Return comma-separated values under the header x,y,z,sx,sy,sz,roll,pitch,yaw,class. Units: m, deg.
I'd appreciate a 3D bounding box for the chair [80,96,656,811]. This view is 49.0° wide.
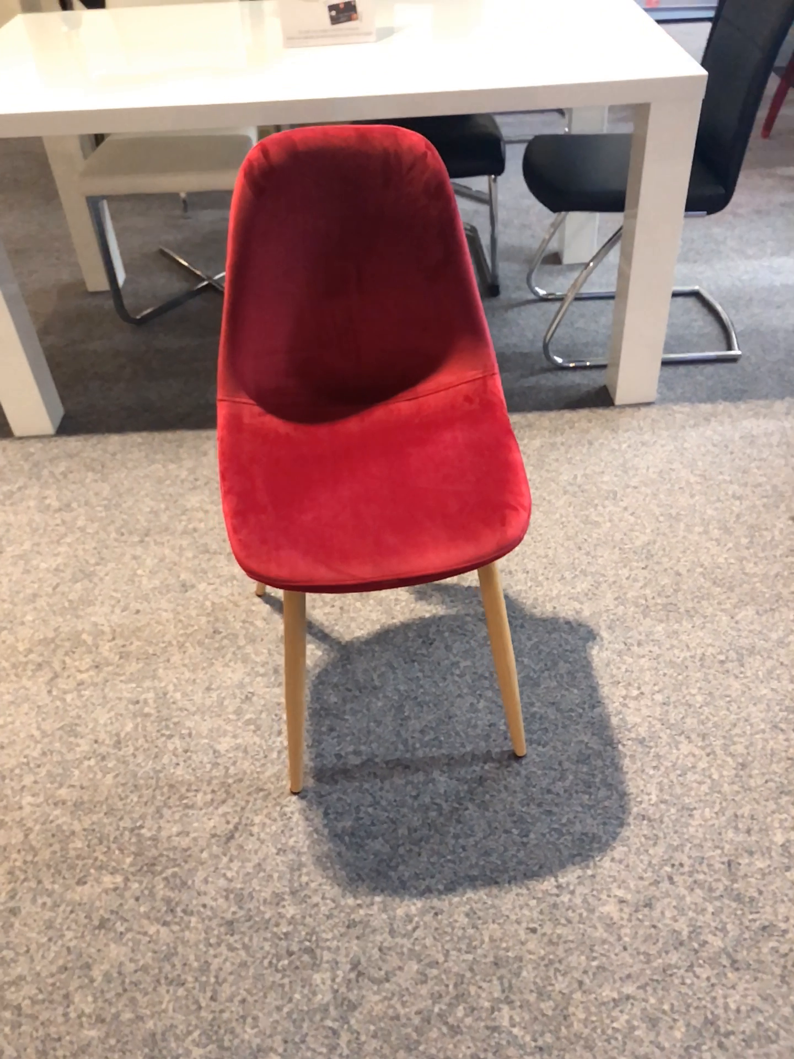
x,y,z,sx,sy,sz,roll,pitch,yaw,class
-0.035,-0.093,1.271,0.530,0.815,0.553,-7,41,-4,chair
